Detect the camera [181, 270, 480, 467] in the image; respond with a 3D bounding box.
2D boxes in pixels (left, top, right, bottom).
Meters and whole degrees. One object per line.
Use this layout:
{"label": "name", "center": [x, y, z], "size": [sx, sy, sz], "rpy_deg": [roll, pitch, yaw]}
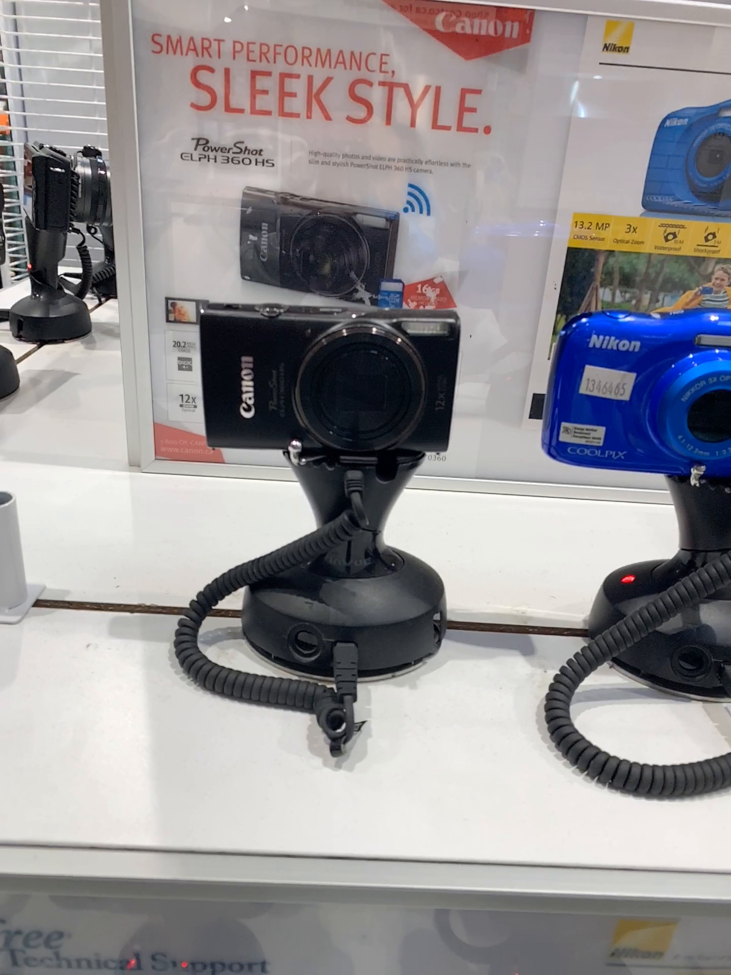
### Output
{"label": "camera", "center": [-0.015, -0.044, 0.281], "size": [0.100, 0.060, 0.040], "rpy_deg": [1, 25, -7]}
